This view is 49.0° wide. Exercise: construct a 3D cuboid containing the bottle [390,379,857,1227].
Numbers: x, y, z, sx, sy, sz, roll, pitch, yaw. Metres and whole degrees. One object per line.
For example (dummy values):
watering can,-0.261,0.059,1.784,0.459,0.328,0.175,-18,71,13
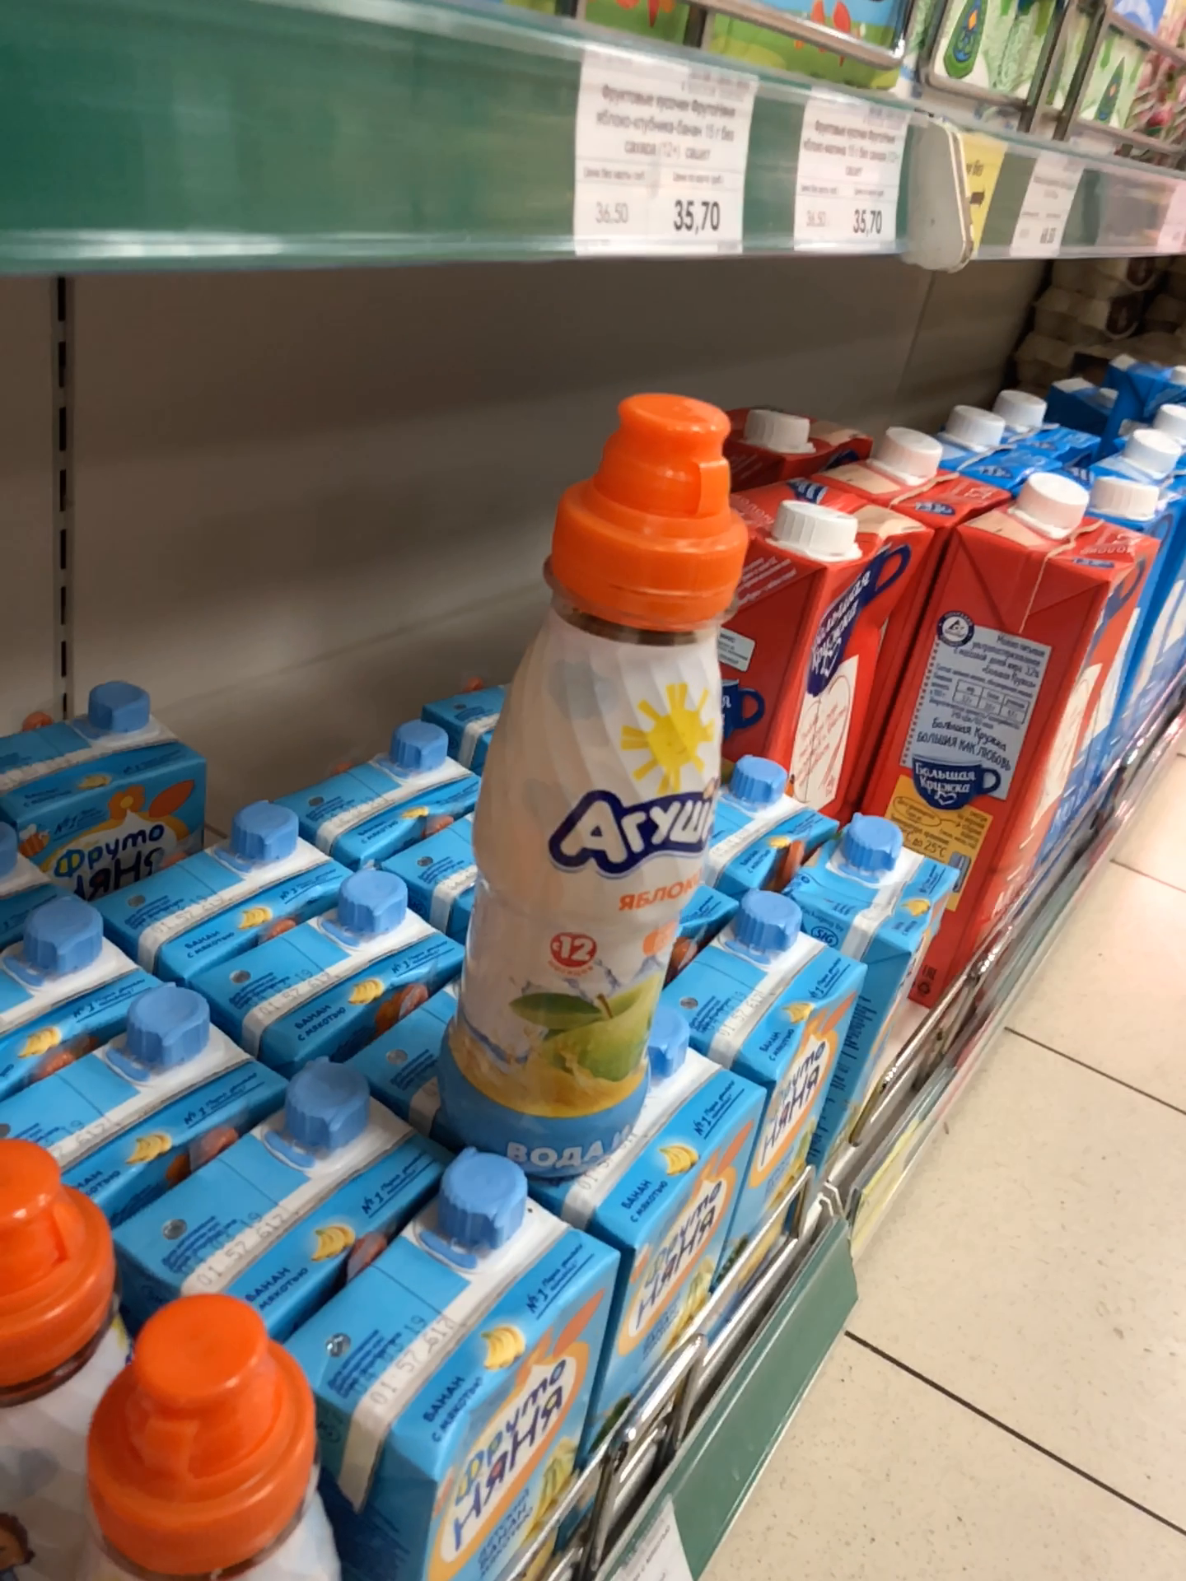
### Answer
bottle,0.000,0.007,0.313,0.053,0.193,0.056,9,28,-5
